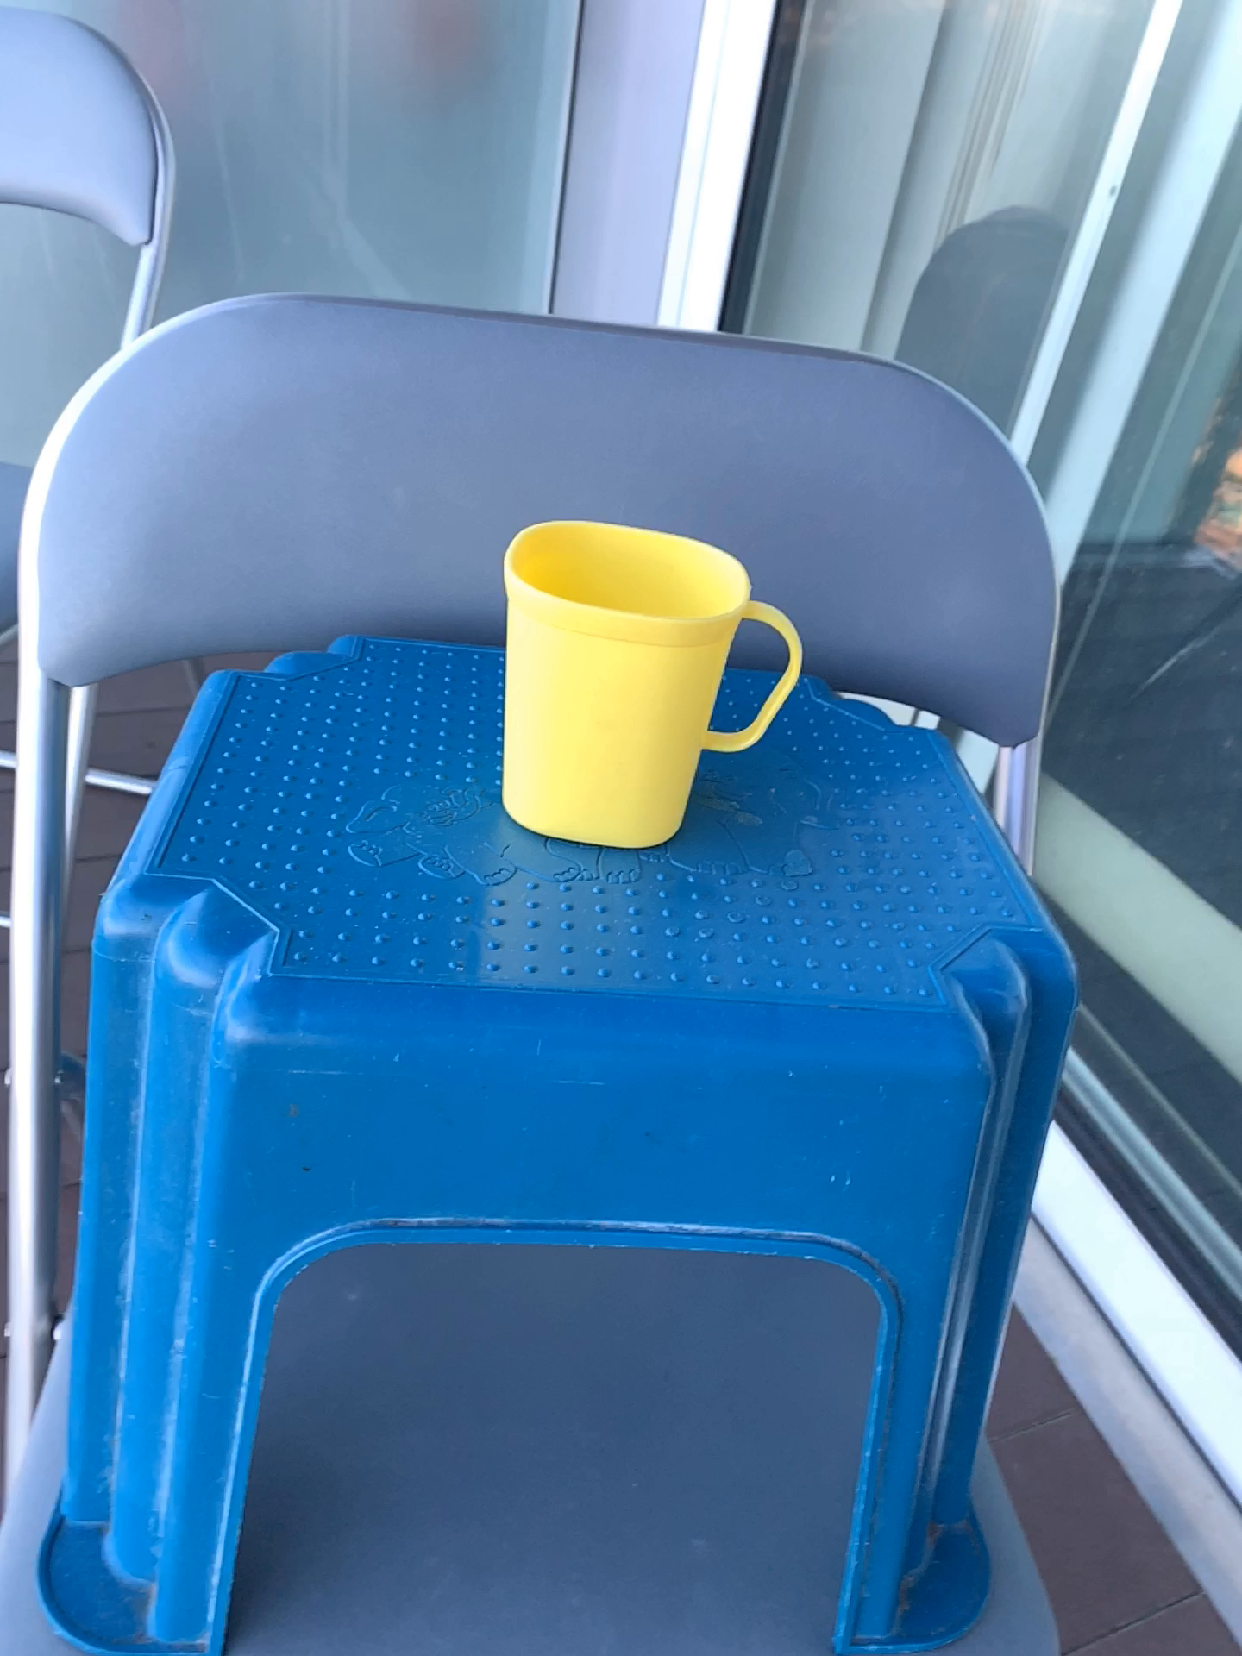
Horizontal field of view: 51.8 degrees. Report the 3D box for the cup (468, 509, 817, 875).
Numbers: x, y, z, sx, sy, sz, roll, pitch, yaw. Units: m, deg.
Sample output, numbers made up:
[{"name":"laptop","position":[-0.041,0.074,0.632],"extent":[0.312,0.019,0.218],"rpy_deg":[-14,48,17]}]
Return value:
[{"name":"cup","position":[0.006,-0.042,0.386],"extent":[0.089,0.077,0.068],"rpy_deg":[7,32,0]}]
